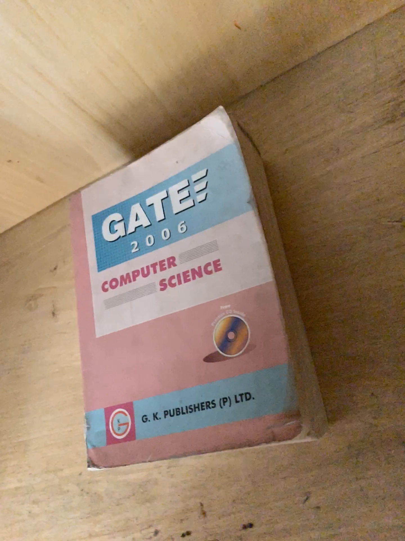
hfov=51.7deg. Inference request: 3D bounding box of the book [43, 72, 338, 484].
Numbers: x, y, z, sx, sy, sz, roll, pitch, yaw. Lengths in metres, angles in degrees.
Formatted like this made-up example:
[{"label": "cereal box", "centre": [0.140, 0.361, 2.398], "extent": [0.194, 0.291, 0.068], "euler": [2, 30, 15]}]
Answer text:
[{"label": "book", "centre": [-0.028, 0.010, 0.346], "extent": [0.190, 0.080, 0.271], "euler": [-19, 68, 23]}]
